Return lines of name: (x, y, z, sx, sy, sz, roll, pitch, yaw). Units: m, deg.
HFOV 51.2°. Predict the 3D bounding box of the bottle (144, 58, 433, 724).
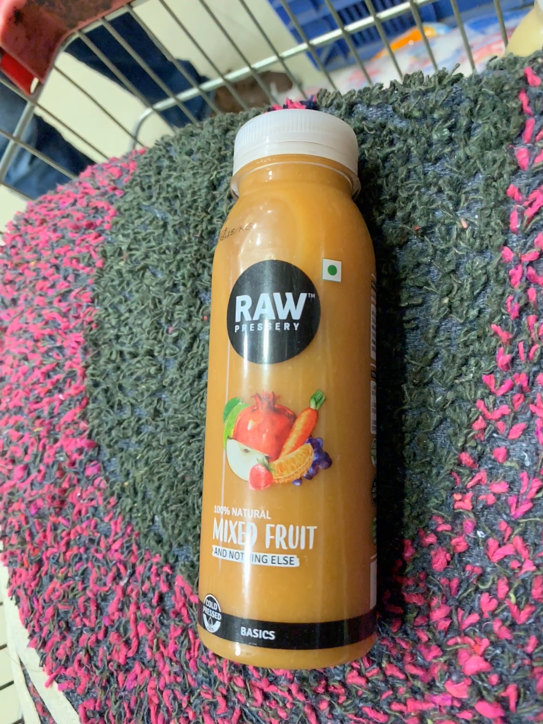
bottle: (0.011, 0.006, 0.159, 0.060, 0.060, 0.150, 1, 81, 13)
